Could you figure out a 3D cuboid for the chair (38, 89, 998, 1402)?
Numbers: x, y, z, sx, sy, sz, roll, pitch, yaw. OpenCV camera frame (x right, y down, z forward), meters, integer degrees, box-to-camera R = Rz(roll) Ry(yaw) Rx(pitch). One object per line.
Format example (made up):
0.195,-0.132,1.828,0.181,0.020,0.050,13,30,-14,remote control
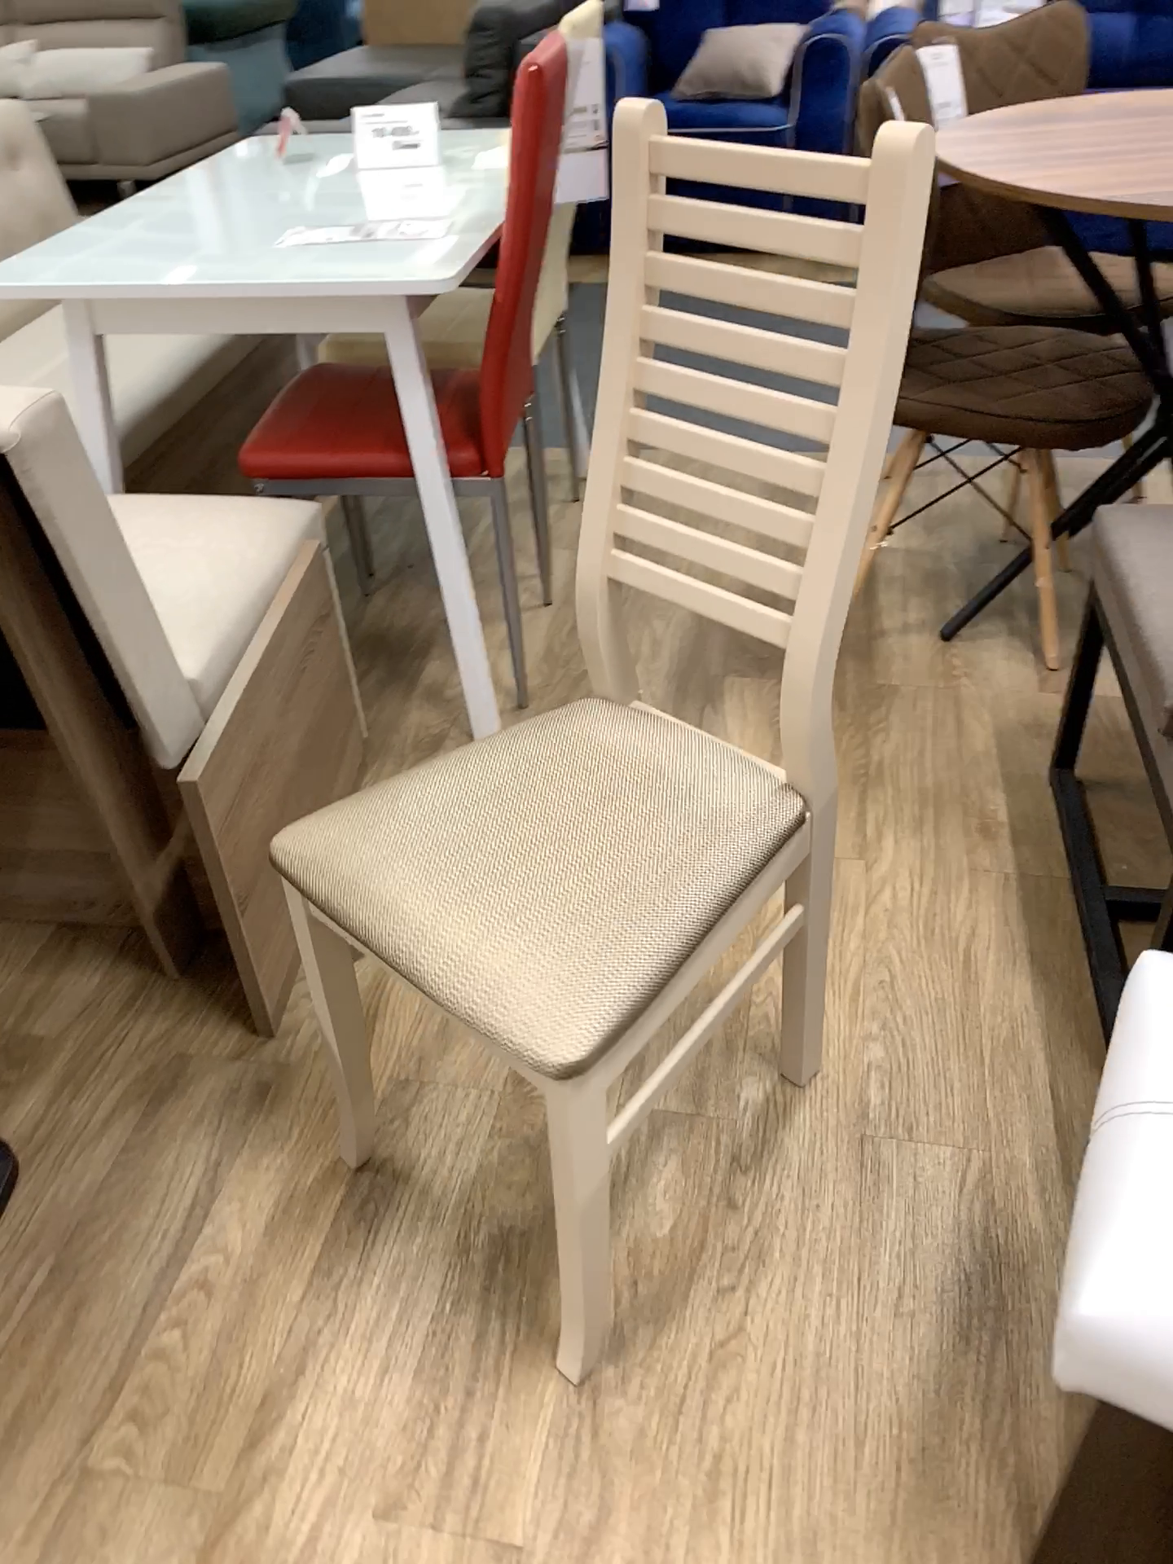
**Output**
-0.014,-0.009,1.050,0.391,0.969,0.474,29,47,36,chair
